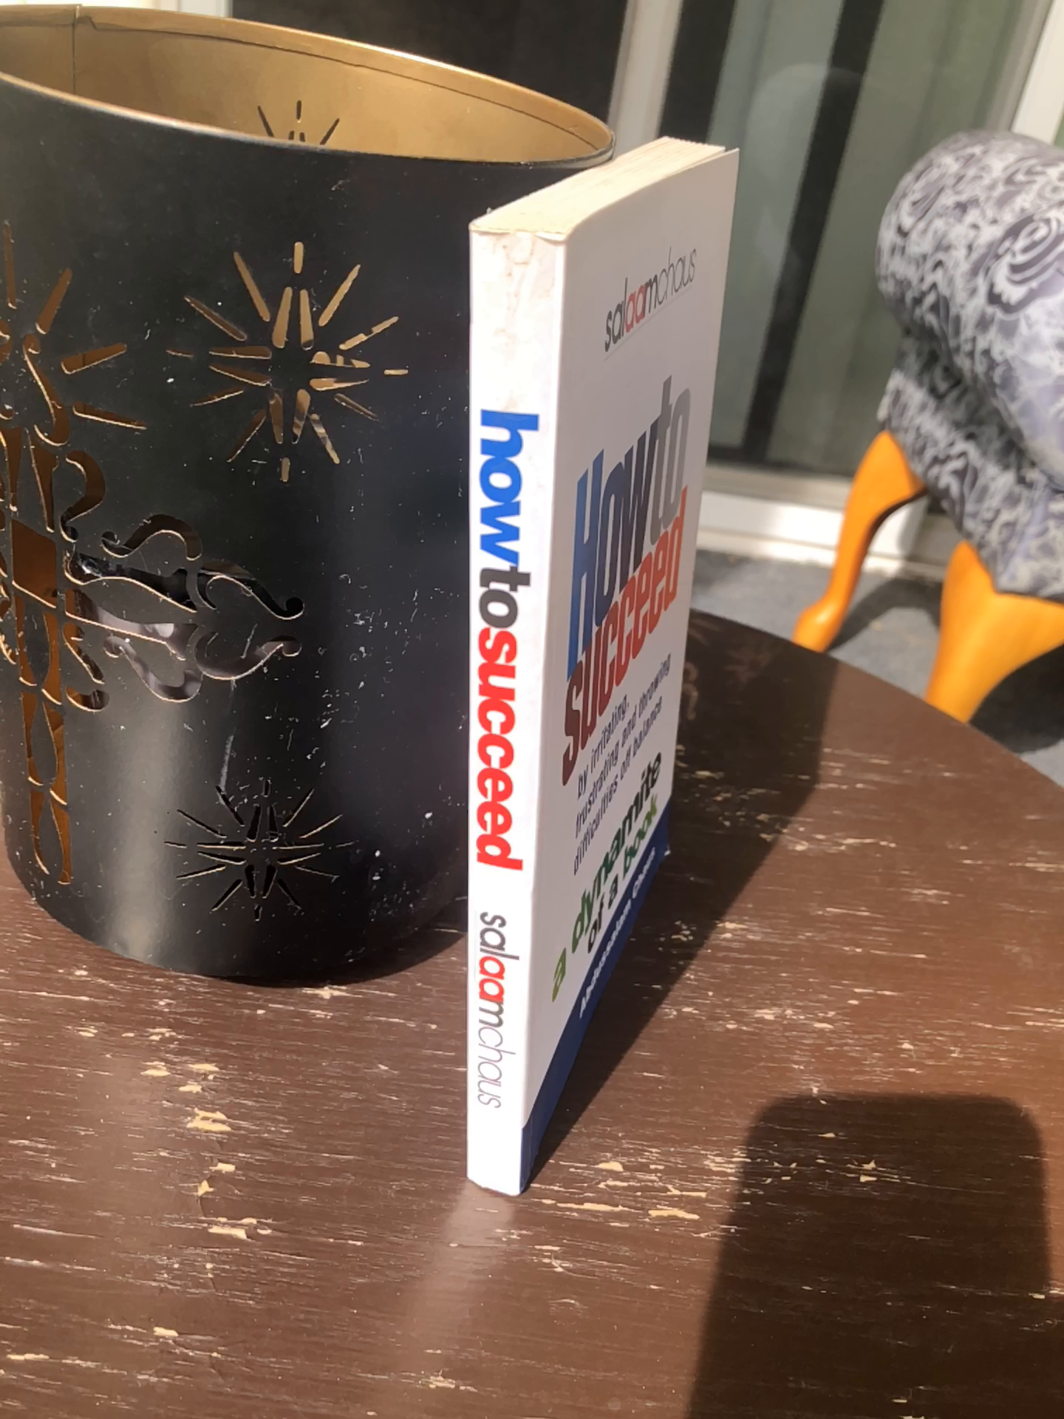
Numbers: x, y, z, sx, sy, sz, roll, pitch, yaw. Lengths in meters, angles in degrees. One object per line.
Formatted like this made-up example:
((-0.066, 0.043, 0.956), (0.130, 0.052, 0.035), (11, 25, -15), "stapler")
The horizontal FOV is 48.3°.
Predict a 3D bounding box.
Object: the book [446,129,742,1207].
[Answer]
((0.015, -0.013, 0.273), (0.018, 0.207, 0.139), (11, 31, 15), "book")
